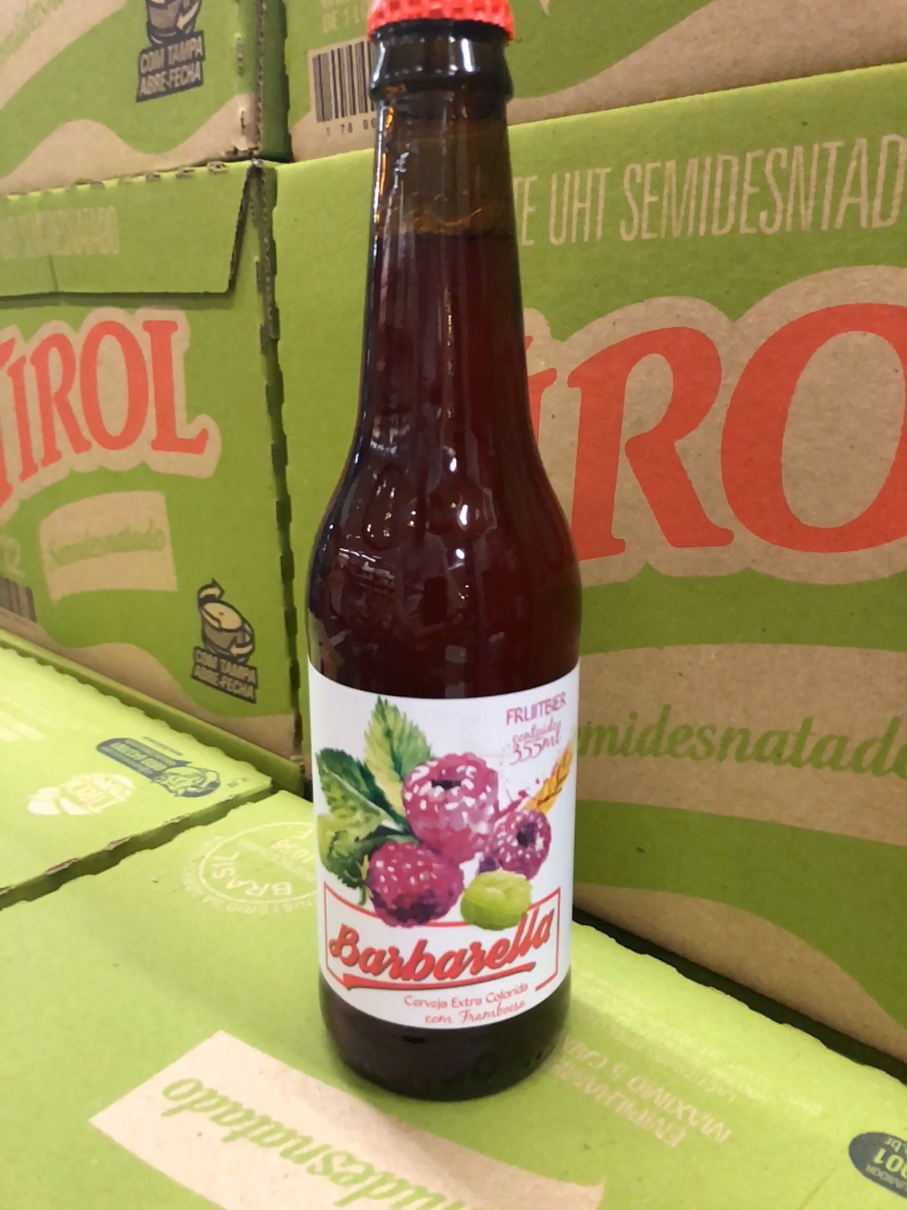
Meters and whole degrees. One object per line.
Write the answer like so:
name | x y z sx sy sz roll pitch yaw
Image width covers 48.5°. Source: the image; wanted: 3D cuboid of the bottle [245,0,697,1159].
bottle | 0.001 0.000 0.216 0.070 0.229 0.060 -1 16 -3
